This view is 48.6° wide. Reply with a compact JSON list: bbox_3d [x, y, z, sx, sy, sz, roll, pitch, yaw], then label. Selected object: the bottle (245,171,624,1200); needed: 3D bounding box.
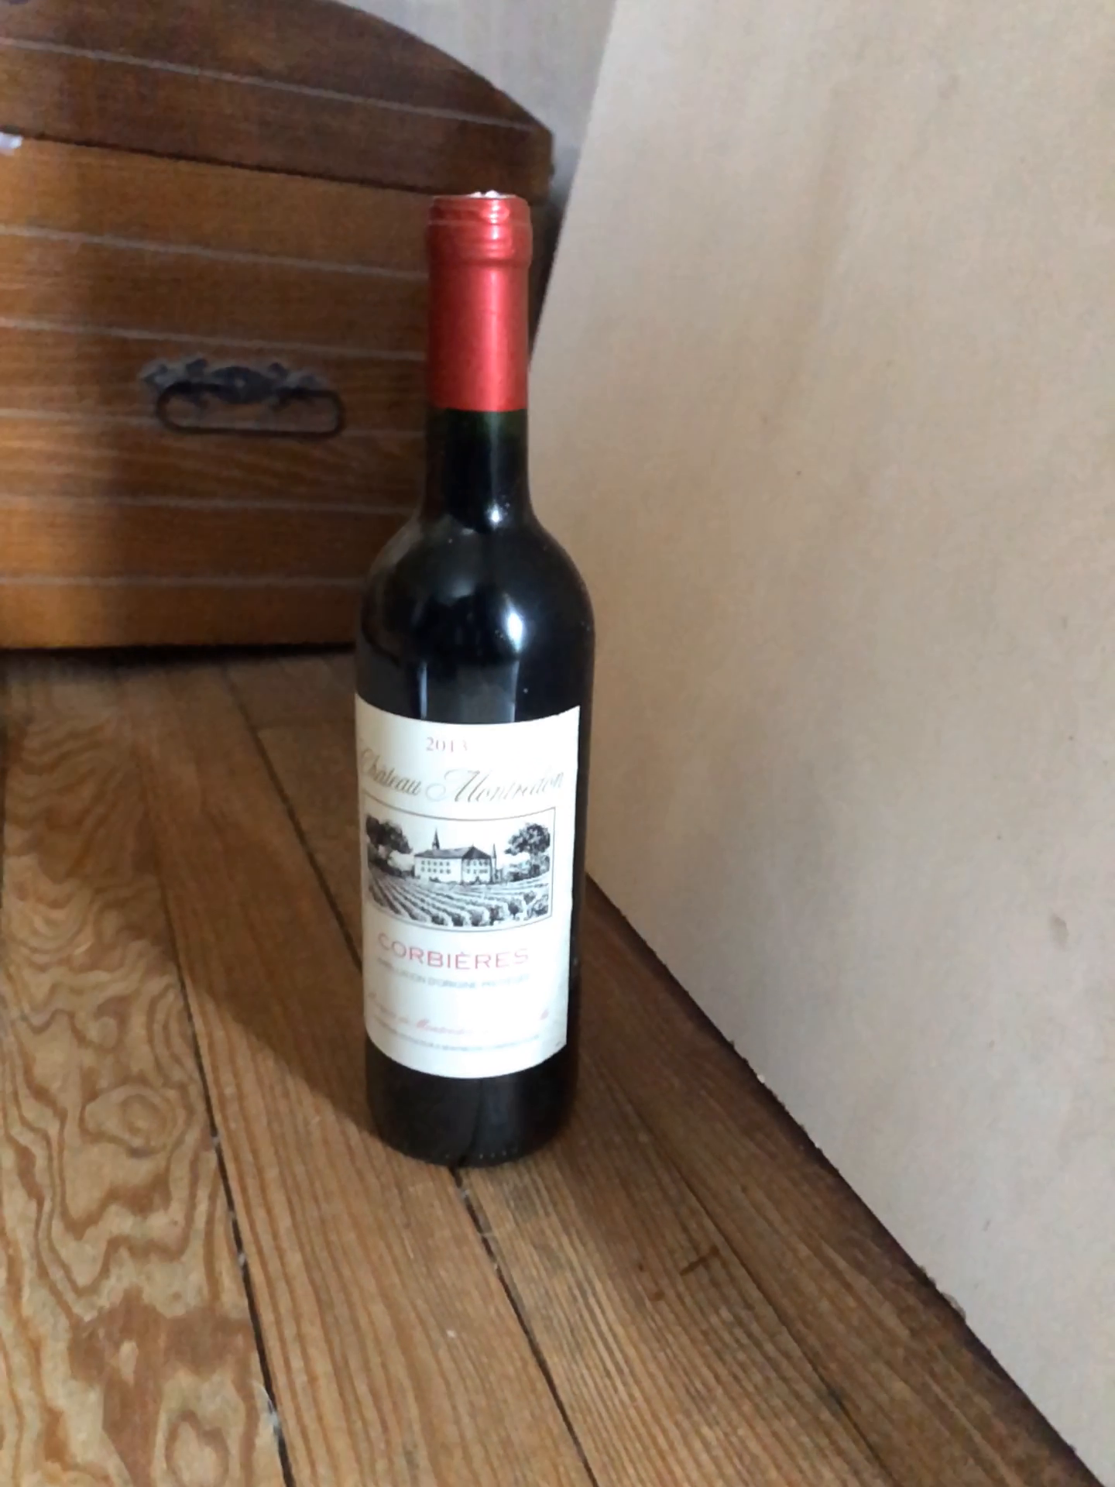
[{"bbox_3d":[-0.030,-0.008,0.366,0.080,0.288,0.070,5,23,8],"label":"bottle"}]
